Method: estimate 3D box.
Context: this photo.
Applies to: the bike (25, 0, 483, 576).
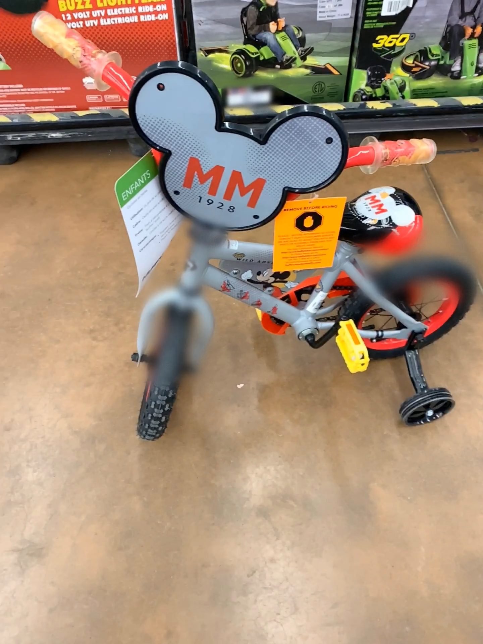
[{"bbox_3d":[0.146,-0.056,0.809,0.678,0.741,0.450,-21,52,-12],"label":"bike"}]
